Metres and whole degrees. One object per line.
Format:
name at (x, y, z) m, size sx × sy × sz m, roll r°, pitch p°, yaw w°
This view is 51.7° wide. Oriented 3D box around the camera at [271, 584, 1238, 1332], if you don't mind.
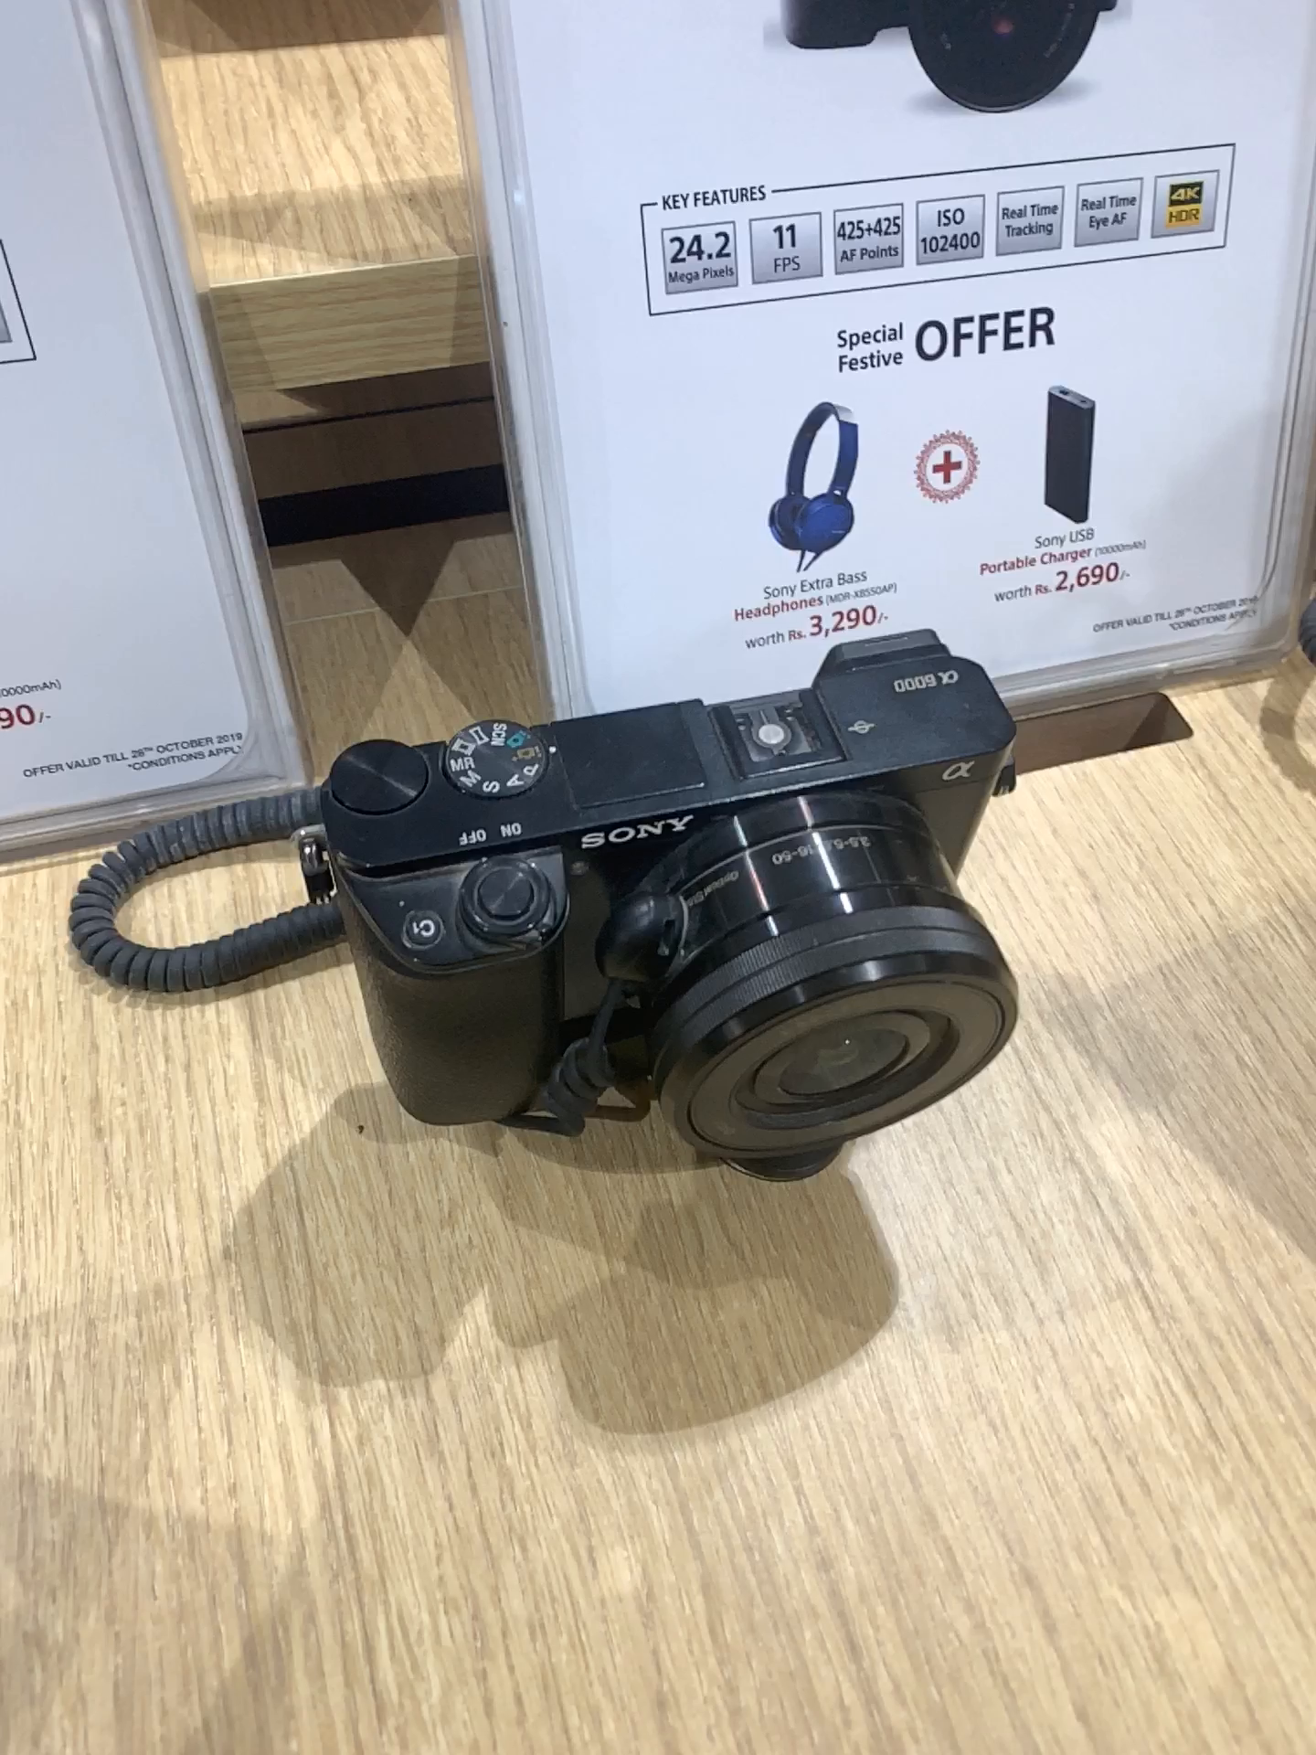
camera at (0.009, 0.012, 0.218) m, size 0.120 × 0.070 × 0.070 m, roll -11°, pitch 54°, yaw -12°
